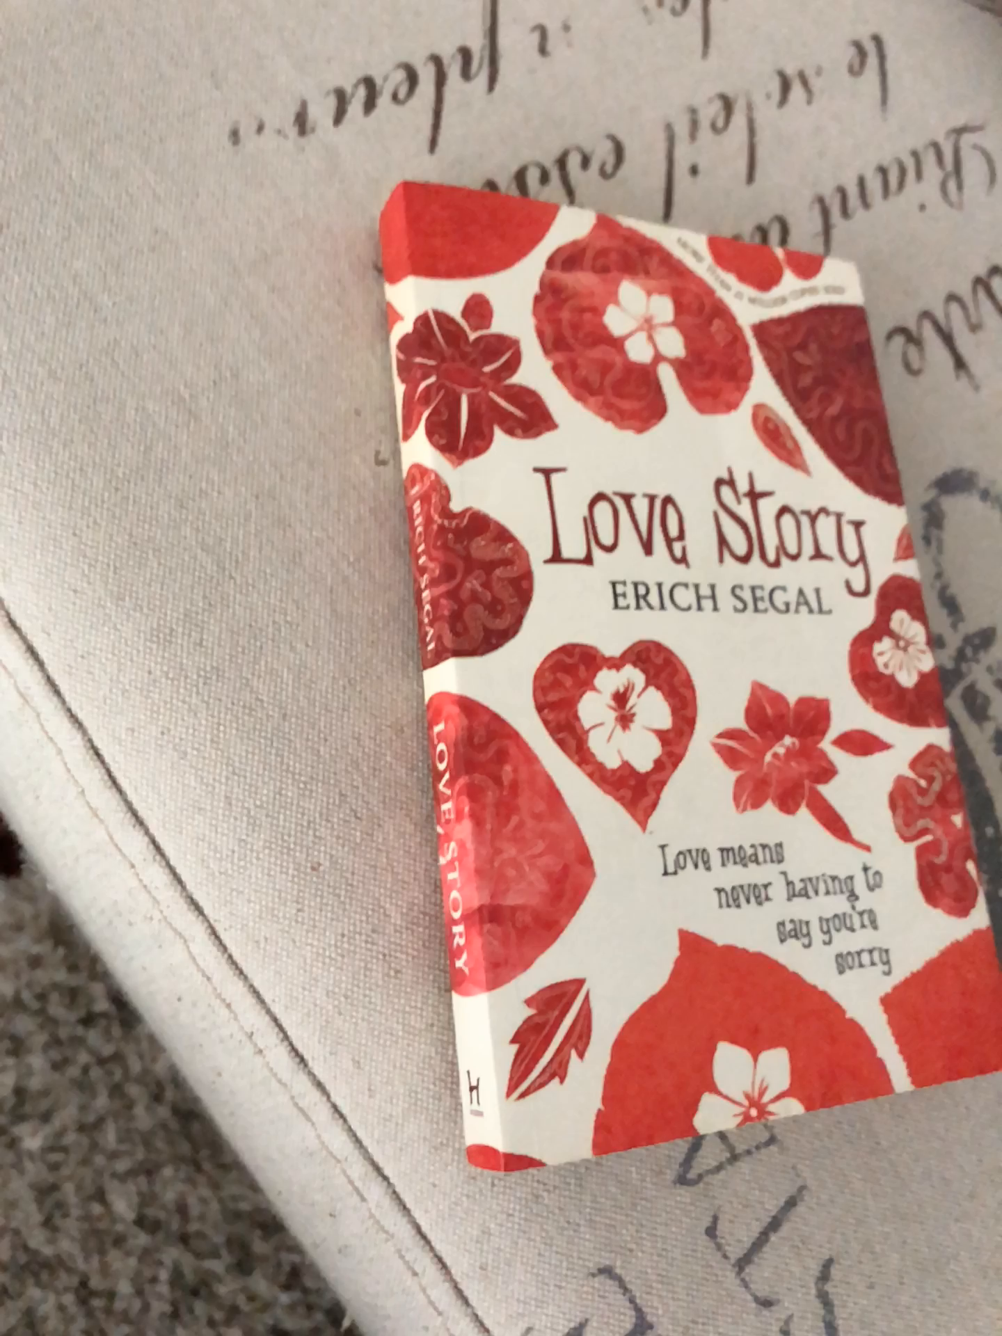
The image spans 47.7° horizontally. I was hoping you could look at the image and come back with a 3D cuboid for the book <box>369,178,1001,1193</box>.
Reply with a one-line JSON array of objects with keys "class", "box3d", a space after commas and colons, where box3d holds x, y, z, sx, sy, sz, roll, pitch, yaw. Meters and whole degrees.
[{"class": "book", "box3d": [0.041, -0.004, 0.238, 0.120, 0.020, 0.188, 0, 75, -26]}]
